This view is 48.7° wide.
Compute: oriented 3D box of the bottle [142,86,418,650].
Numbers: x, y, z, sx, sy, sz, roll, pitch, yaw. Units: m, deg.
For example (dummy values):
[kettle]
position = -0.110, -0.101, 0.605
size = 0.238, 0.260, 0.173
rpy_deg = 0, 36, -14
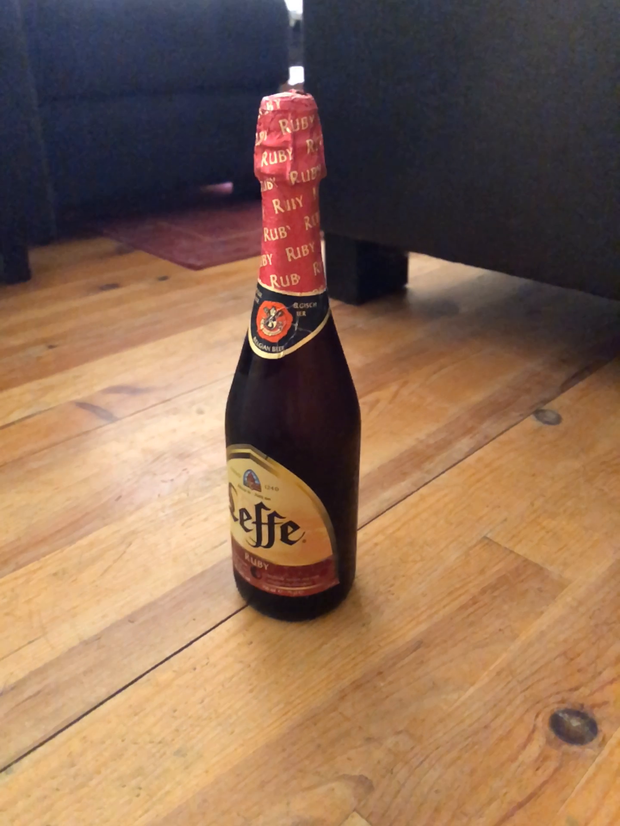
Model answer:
[bottle]
position = -0.011, -0.020, 0.384
size = 0.090, 0.288, 0.090
rpy_deg = -1, 28, 0
